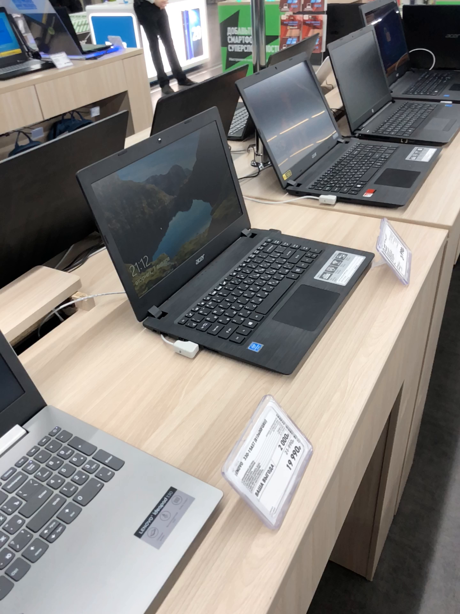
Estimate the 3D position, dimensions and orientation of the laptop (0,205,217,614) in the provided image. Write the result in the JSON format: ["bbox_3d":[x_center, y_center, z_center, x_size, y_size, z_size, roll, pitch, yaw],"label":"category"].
[{"bbox_3d":[-0.250,0.135,0.383,0.338,0.236,0.364,17,40,28],"label":"laptop"}]

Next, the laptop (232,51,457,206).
[{"bbox_3d":[0.271,-0.437,1.173,0.376,0.216,0.380,16,39,26],"label":"laptop"}]

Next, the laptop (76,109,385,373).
[{"bbox_3d":[0.025,-0.133,0.770,0.302,0.223,0.344,16,39,27],"label":"laptop"}]
